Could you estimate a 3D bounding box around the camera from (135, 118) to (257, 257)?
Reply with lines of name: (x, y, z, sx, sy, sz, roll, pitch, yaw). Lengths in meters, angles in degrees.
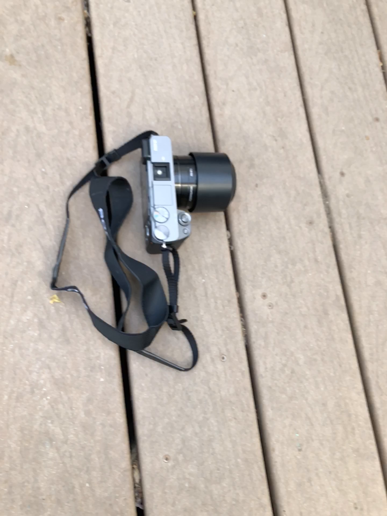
camera: (-0.002, -0.074, 0.473, 0.110, 0.070, 0.130, -3, 78, -14)
